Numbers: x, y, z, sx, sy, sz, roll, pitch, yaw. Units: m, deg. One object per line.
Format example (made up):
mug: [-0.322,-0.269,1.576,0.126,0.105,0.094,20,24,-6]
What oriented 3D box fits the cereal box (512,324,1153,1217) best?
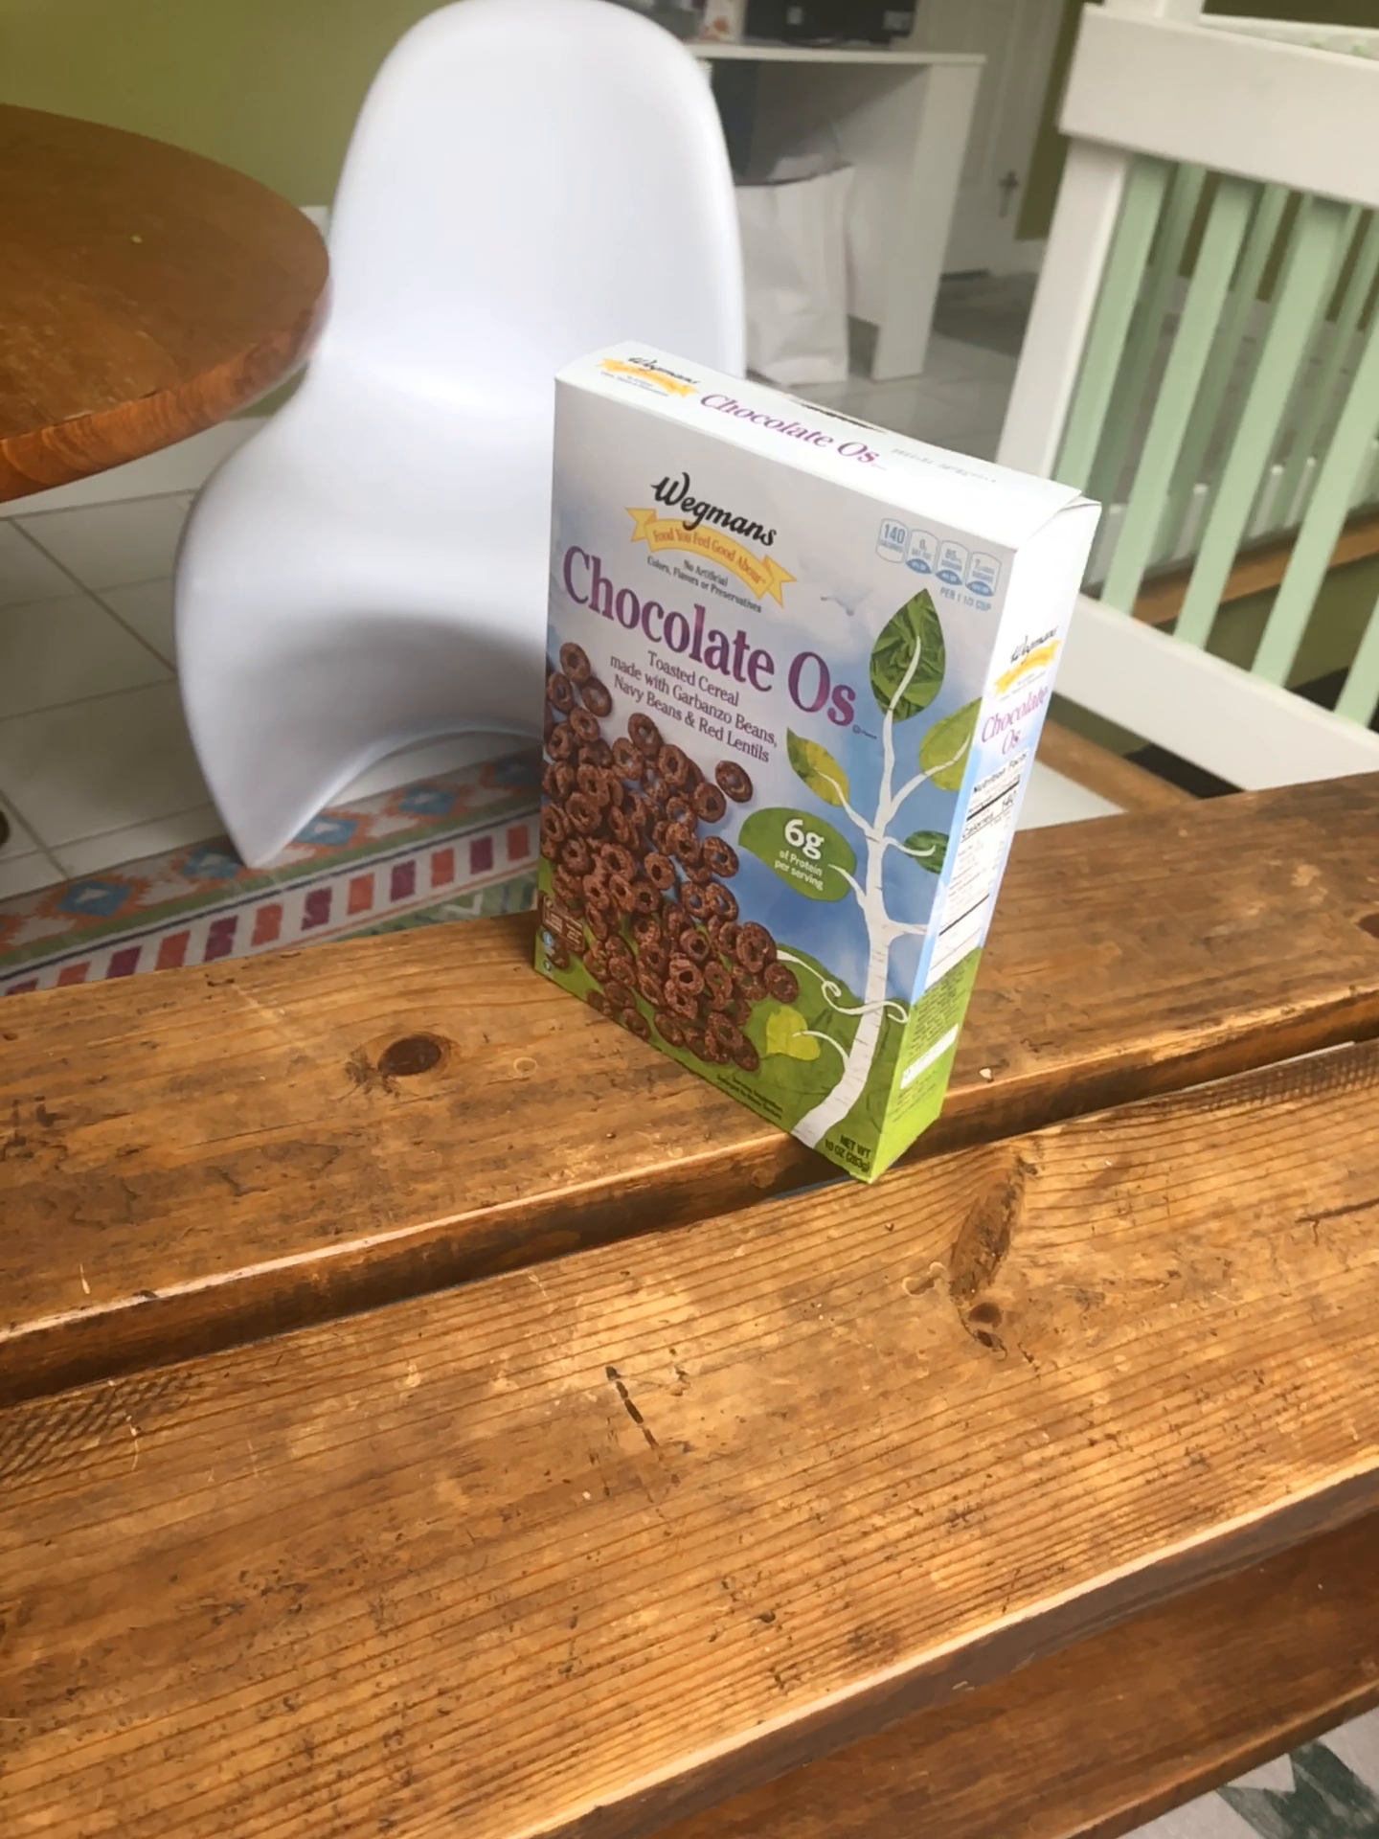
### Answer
cereal box: [0.032,-0.054,0.584,0.210,0.278,0.060,30,42,28]
